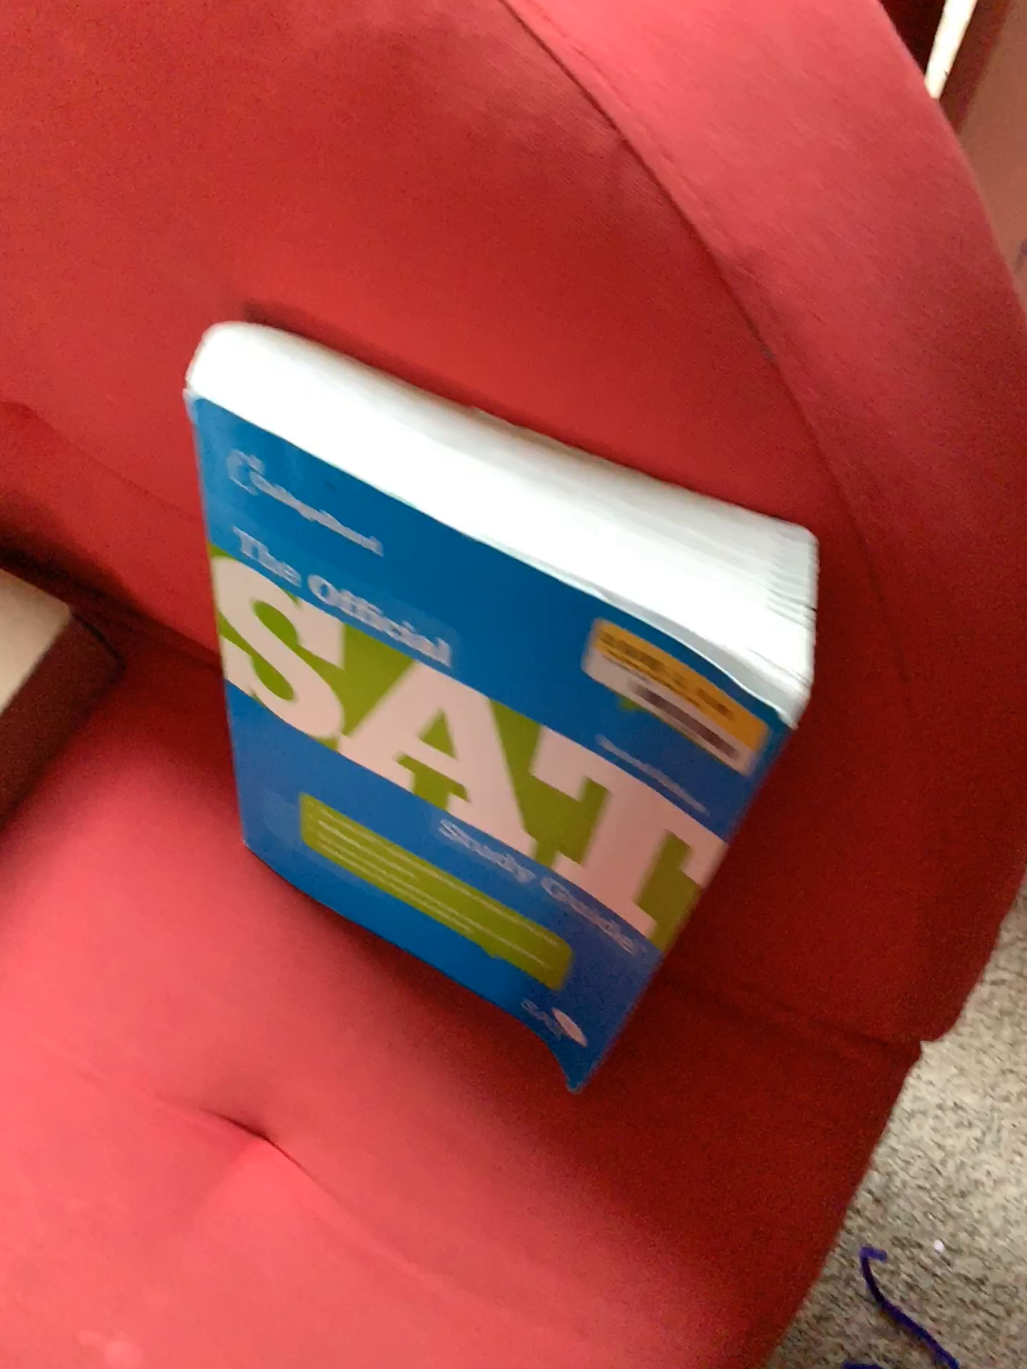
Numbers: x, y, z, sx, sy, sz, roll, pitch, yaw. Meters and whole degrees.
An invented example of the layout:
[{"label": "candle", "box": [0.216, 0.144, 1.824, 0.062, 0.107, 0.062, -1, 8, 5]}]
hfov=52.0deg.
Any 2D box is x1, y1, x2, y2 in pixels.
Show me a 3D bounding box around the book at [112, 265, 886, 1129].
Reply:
[{"label": "book", "box": [-0.028, 0.017, 0.407, 0.230, 0.259, 0.080, 30, 46, 17]}]
